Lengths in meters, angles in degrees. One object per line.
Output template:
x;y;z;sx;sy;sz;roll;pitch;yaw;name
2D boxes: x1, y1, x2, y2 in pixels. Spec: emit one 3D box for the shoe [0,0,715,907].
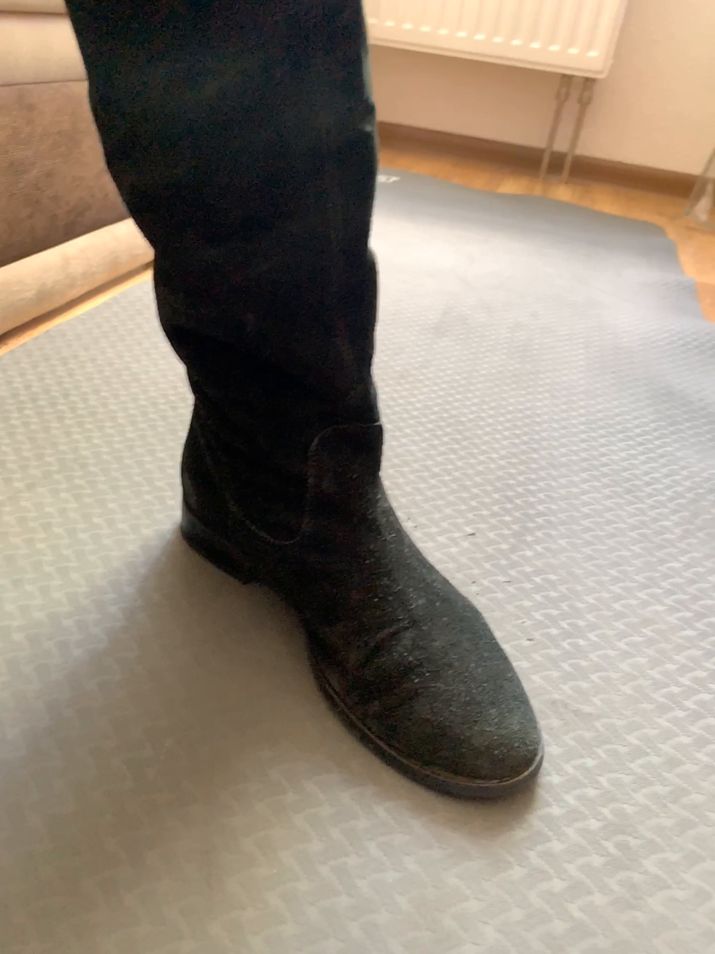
-0.028;-0.103;0.288;0.130;0.378;0.321;-24;40;-37;shoe
